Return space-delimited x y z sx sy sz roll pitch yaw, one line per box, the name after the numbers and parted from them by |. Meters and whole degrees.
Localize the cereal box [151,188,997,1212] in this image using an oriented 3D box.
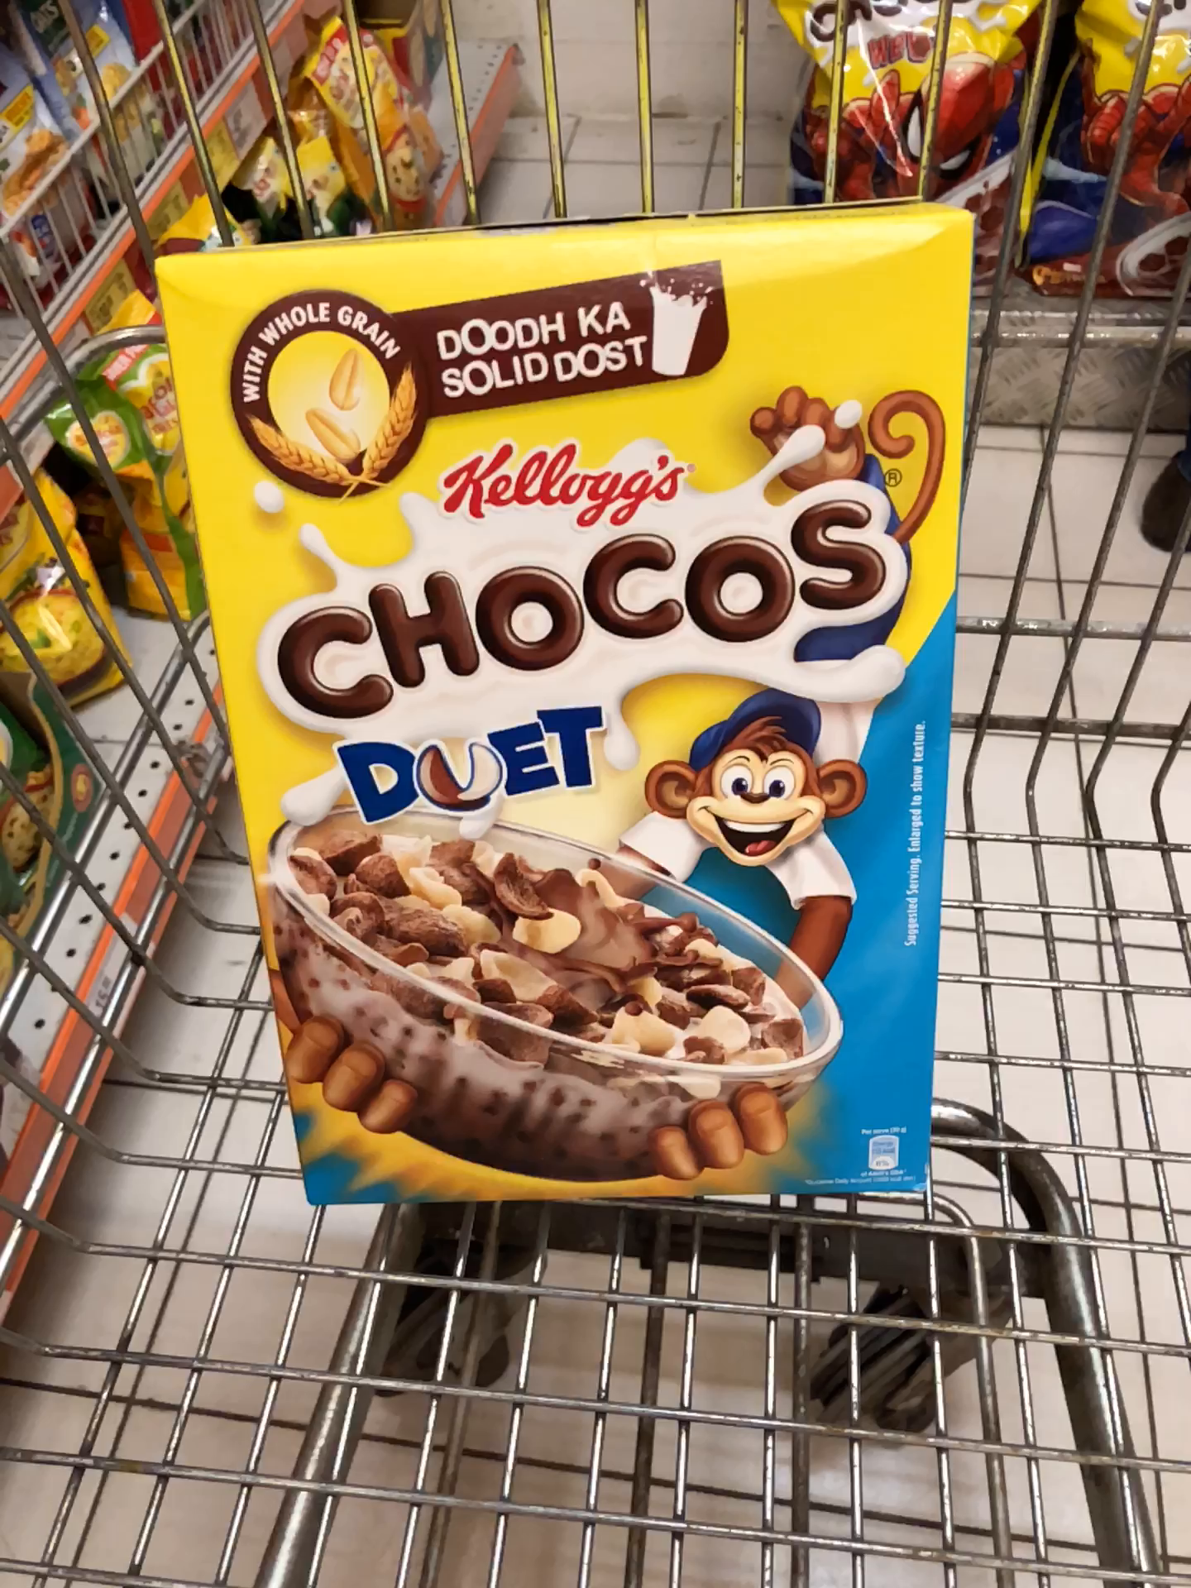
0.001 -0.017 0.360 0.180 0.259 0.070 -2 21 2 | cereal box
